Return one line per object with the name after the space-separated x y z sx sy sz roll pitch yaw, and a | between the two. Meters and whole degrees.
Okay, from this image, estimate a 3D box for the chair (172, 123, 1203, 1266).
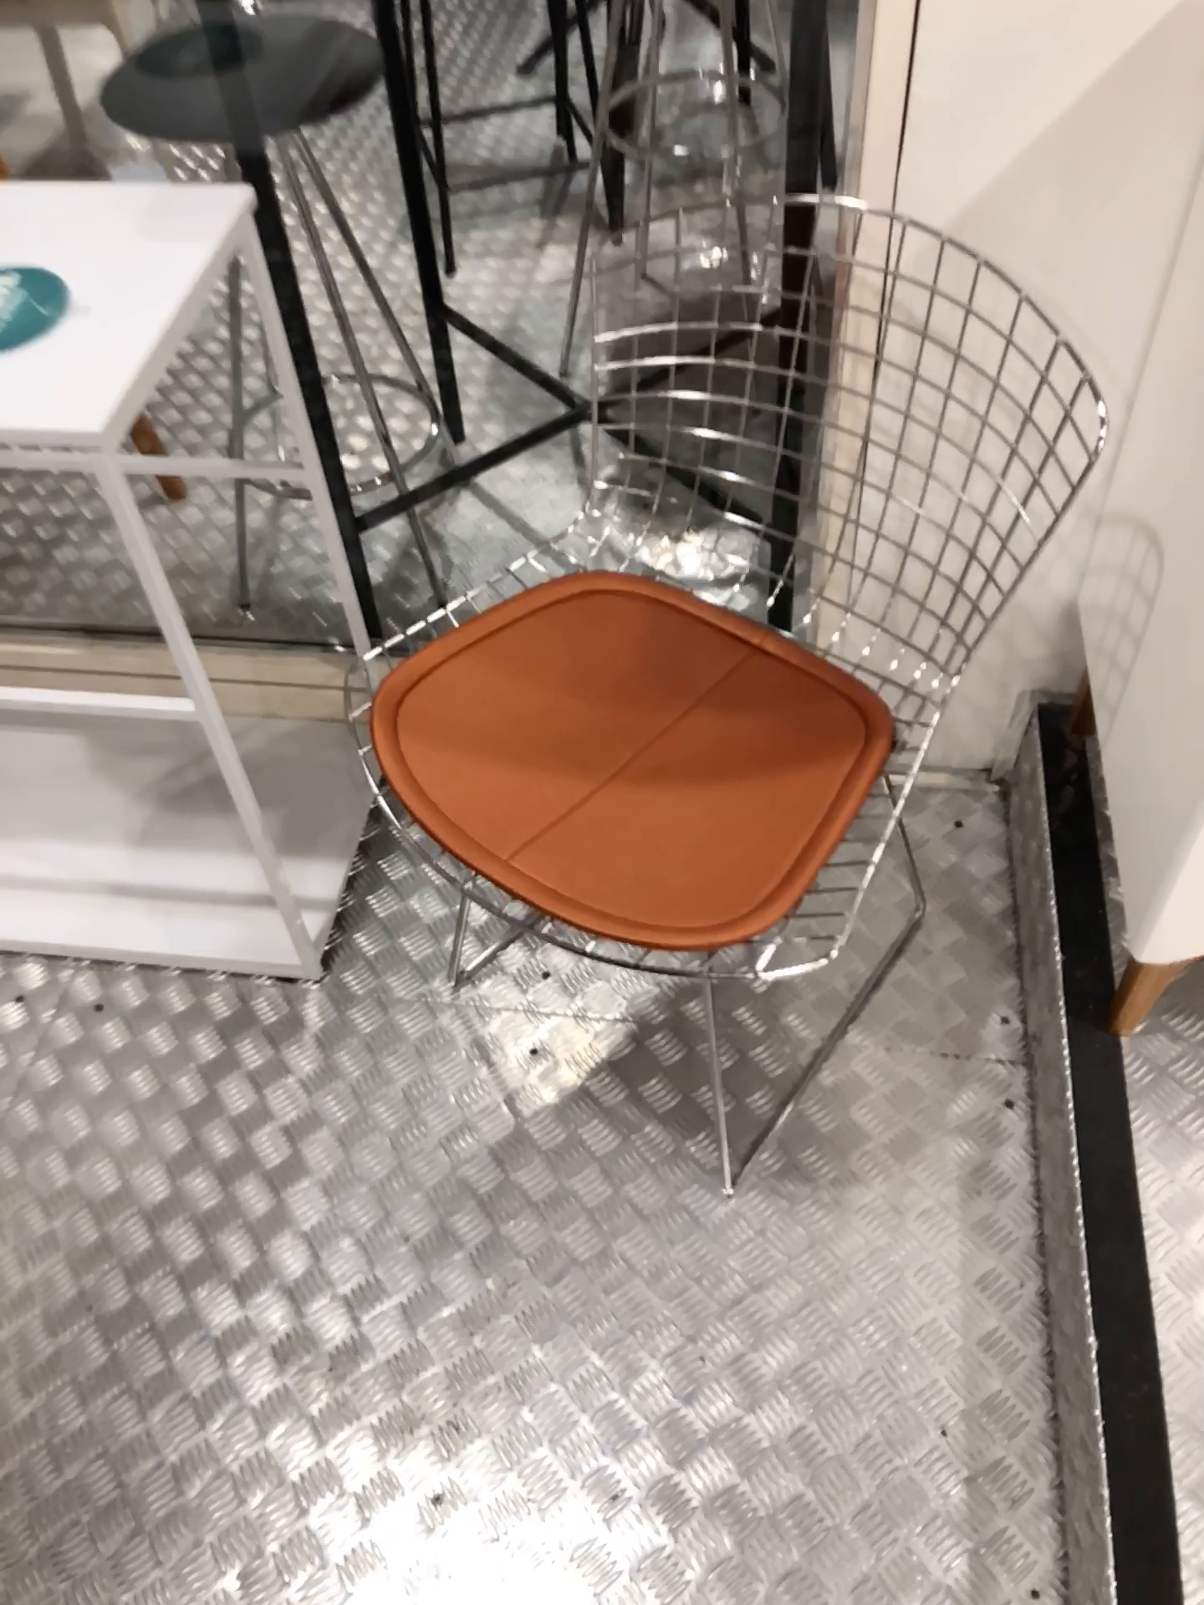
0.107 -0.098 1.220 0.552 0.705 0.572 30 58 27 | chair
